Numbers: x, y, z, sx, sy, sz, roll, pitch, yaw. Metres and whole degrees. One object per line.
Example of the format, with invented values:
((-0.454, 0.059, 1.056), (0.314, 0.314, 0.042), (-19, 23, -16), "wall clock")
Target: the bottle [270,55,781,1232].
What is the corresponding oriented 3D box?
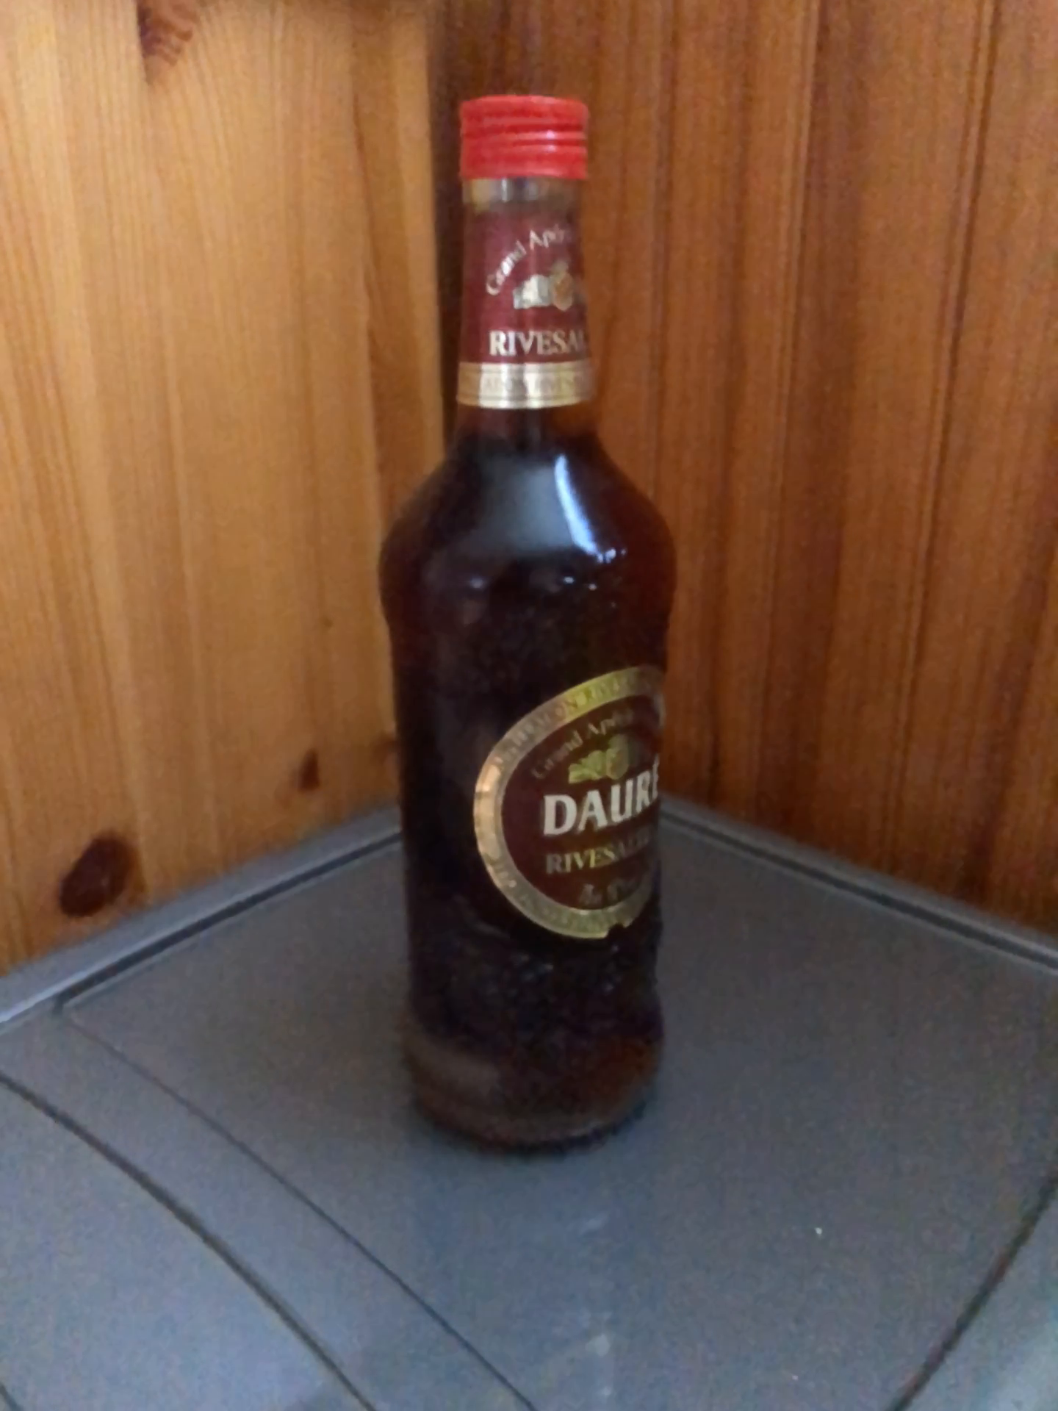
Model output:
((-0.001, -0.012, 0.345), (0.090, 0.299, 0.090), (0, 21, 0), "bottle")
